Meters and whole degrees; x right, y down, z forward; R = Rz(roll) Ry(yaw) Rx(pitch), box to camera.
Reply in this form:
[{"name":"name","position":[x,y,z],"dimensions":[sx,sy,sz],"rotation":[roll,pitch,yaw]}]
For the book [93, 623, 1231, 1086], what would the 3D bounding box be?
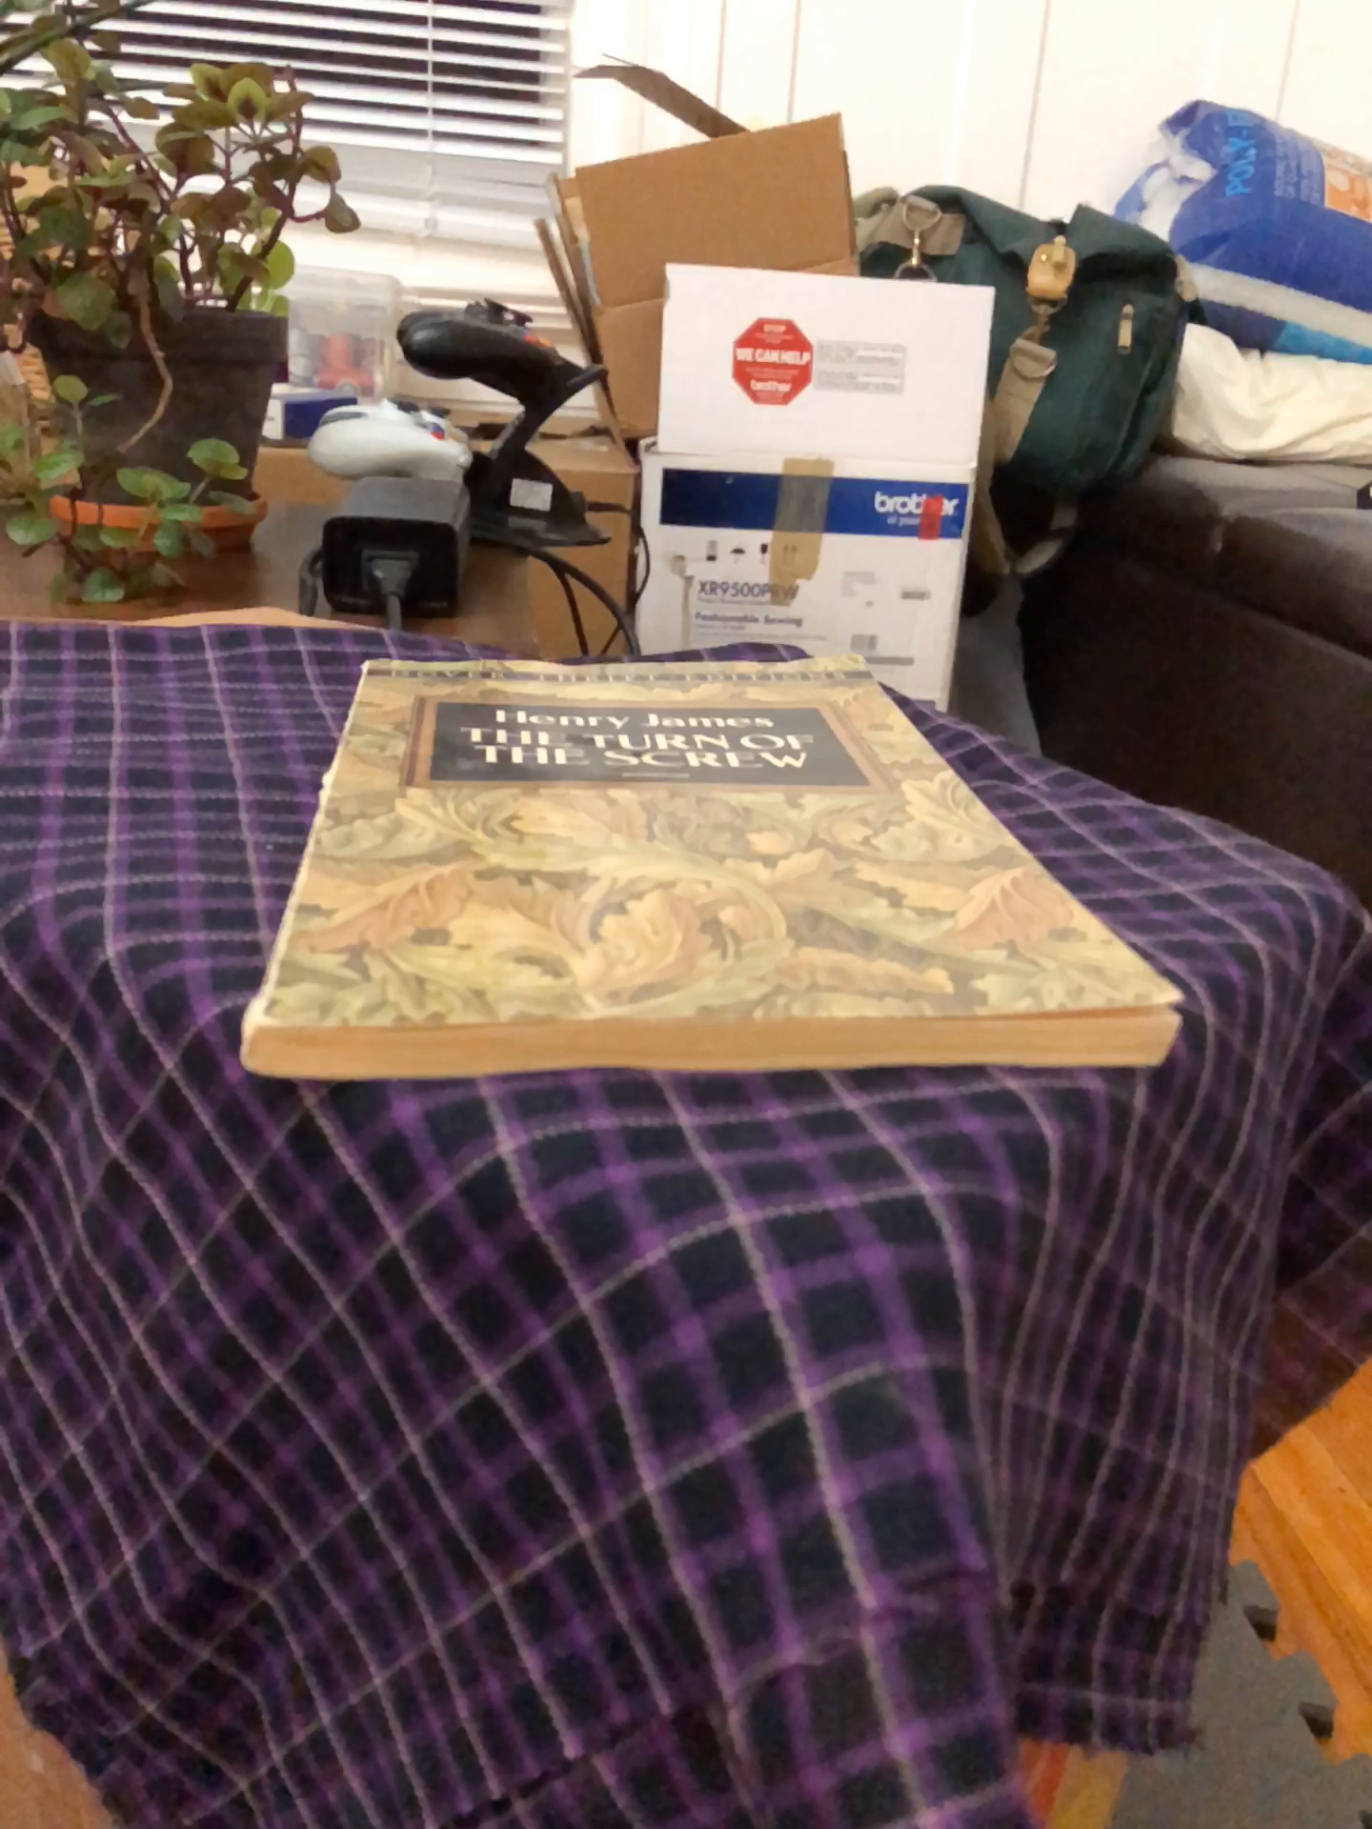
[{"name":"book","position":[-0.014,-0.026,0.287],"dimensions":[0.140,0.010,0.221],"rotation":[1,22,-8]}]
